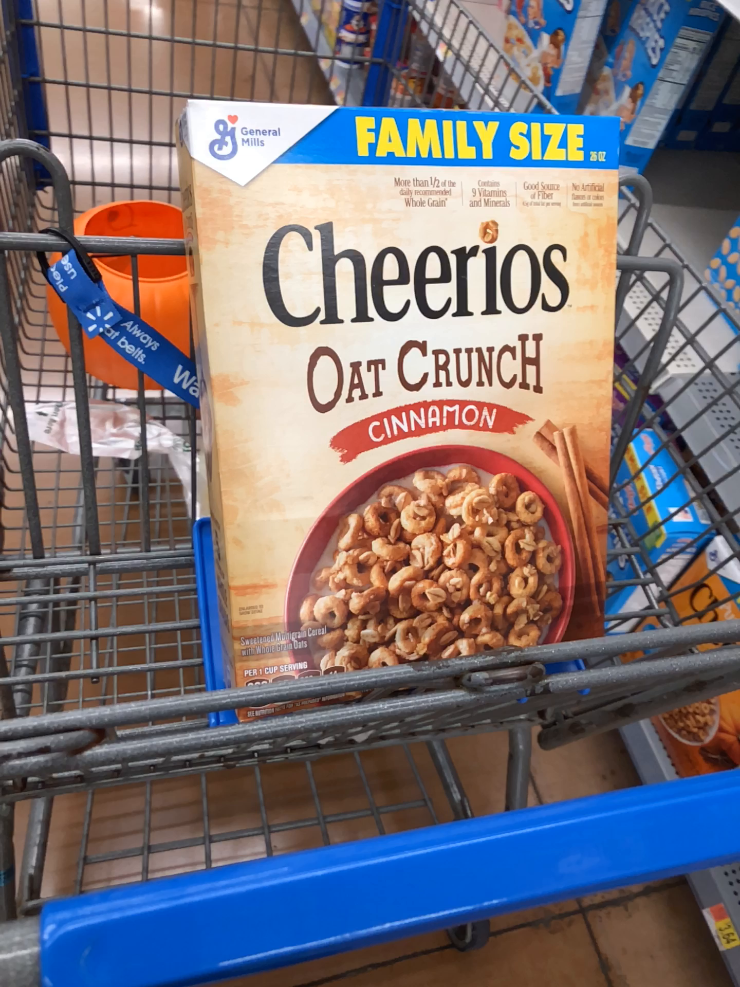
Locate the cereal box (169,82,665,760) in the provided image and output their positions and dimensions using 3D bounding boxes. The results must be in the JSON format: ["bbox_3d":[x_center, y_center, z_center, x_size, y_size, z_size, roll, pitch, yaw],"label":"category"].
[{"bbox_3d":[0.031,-0.041,0.472,0.250,0.330,0.080,-7,16,-20],"label":"cereal box"}]
